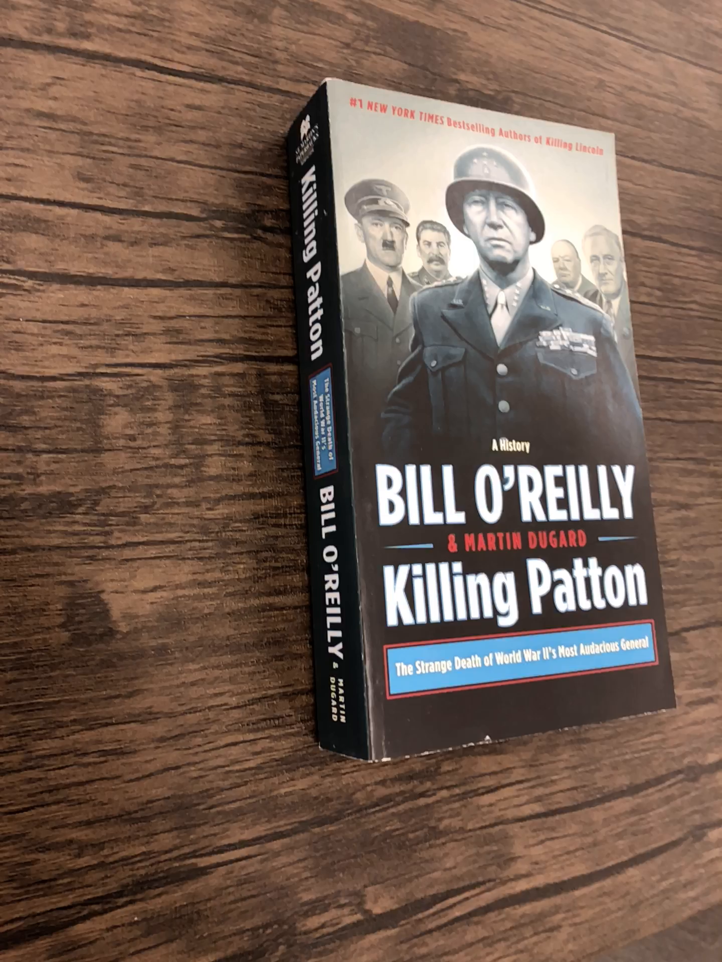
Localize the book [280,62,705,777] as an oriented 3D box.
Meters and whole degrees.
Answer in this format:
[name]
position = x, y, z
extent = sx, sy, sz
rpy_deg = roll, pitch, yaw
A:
[book]
position = 0.036, -0.018, 0.239
extent = 0.106, 0.040, 0.182
rpy_deg = 0, 82, -22
